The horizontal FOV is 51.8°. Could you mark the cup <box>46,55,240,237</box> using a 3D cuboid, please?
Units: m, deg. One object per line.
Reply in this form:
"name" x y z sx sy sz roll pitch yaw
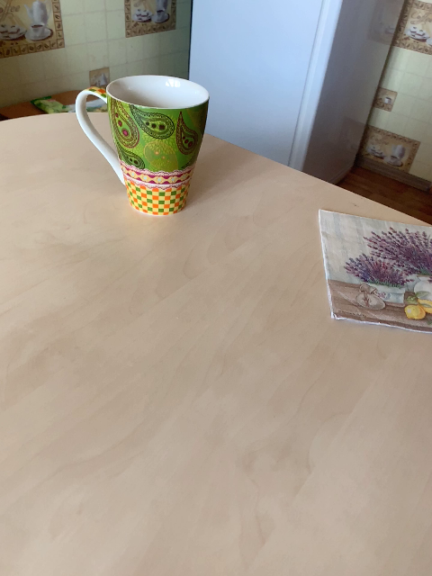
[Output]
"cup" -0.067 -0.143 0.431 0.130 0.109 0.110 25 43 20
